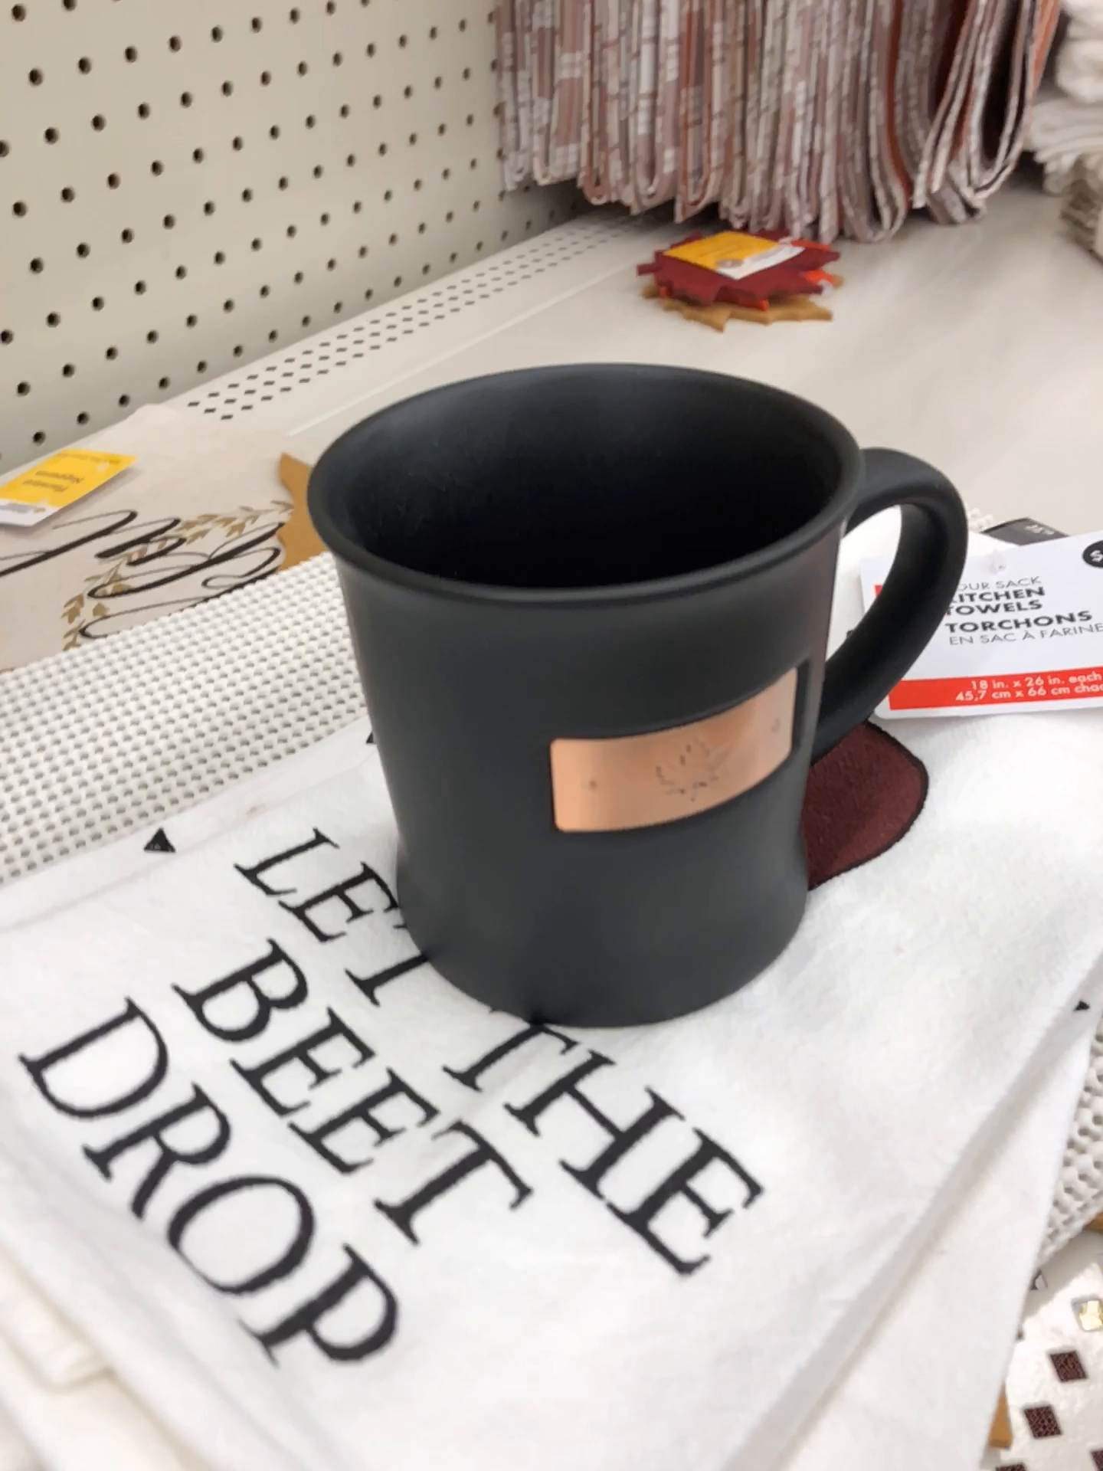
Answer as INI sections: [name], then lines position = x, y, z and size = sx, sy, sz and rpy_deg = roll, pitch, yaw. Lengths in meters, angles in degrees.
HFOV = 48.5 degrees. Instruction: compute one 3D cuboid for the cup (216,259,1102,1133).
[cup]
position = 0.024, -0.017, 0.259
size = 0.140, 0.110, 0.100
rpy_deg = -21, 43, -21
